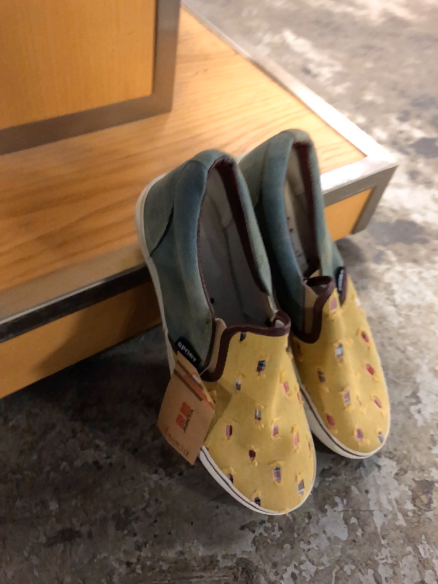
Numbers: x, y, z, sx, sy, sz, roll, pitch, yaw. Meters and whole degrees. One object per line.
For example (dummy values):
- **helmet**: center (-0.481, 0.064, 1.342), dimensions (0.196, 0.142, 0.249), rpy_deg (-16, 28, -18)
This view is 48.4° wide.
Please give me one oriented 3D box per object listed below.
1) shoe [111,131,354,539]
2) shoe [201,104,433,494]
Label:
- **shoe**: center (0.008, 0.026, 0.378), dimensions (0.090, 0.259, 0.120), rpy_deg (-18, 14, -22)
- **shoe**: center (0.083, 0.006, 0.408), dimensions (0.090, 0.279, 0.100), rpy_deg (-22, 15, -20)
